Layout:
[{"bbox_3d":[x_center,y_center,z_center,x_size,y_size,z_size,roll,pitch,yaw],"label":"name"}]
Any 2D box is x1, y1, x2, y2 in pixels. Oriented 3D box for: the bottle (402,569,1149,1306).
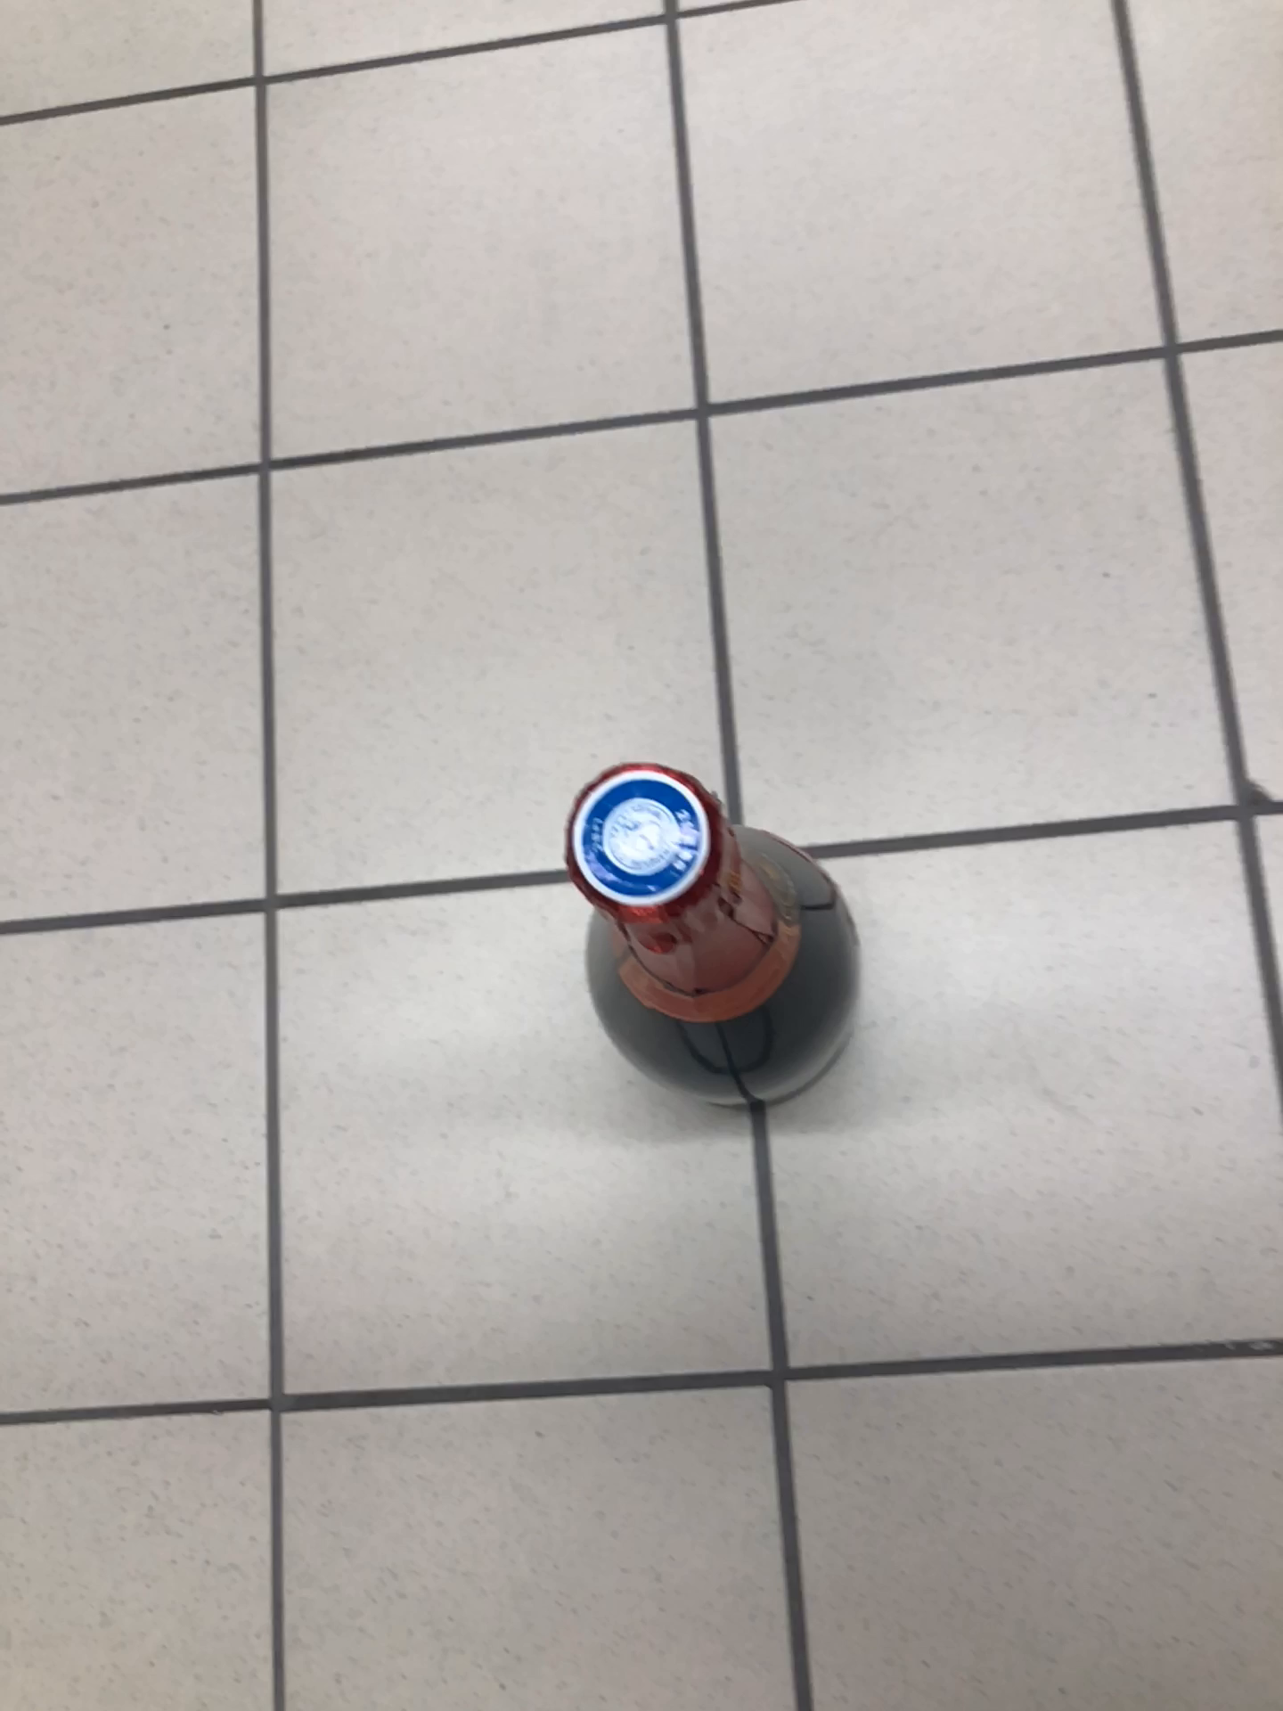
[{"bbox_3d":[0.041,0.044,0.408,0.100,0.300,0.100,-2,77,7],"label":"bottle"}]
